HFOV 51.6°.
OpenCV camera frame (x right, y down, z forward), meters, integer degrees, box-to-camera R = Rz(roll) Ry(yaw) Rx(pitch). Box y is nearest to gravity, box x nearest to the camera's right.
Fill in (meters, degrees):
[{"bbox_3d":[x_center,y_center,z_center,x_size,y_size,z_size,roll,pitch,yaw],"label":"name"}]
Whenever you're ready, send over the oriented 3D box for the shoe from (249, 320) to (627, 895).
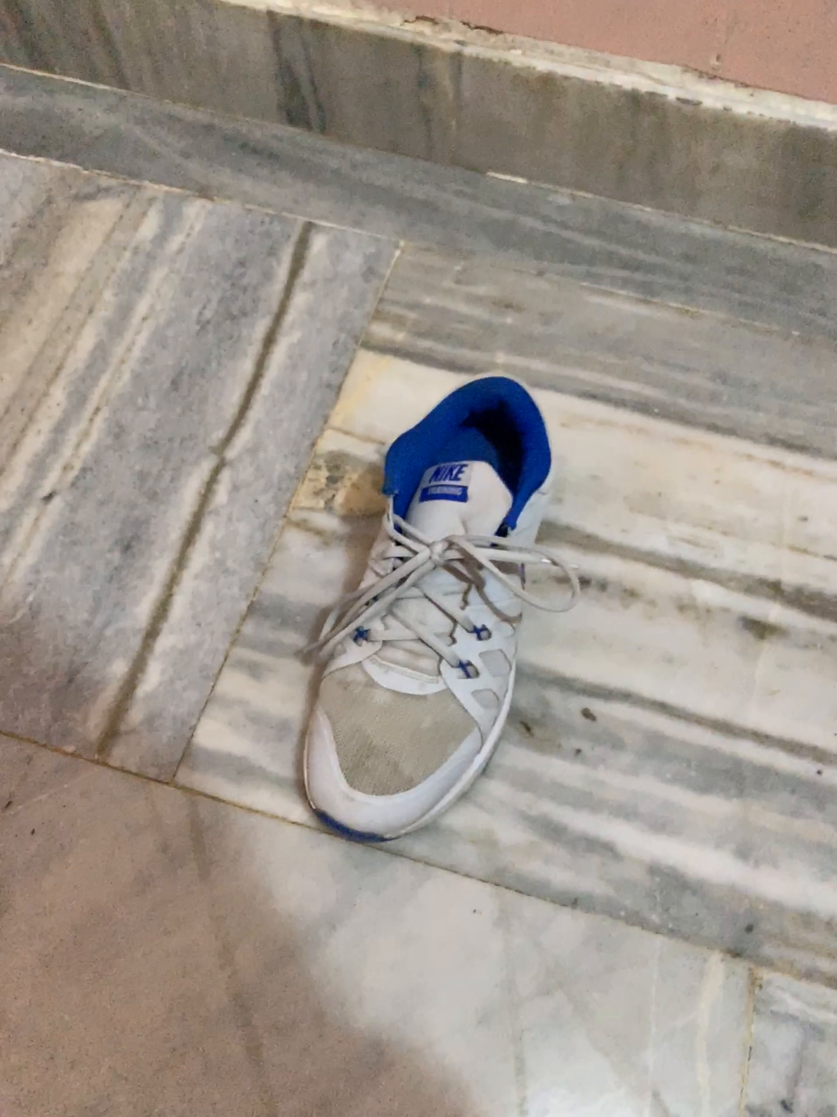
[{"bbox_3d":[0.022,0.019,0.503,0.116,0.100,0.299,17,63,6],"label":"shoe"}]
